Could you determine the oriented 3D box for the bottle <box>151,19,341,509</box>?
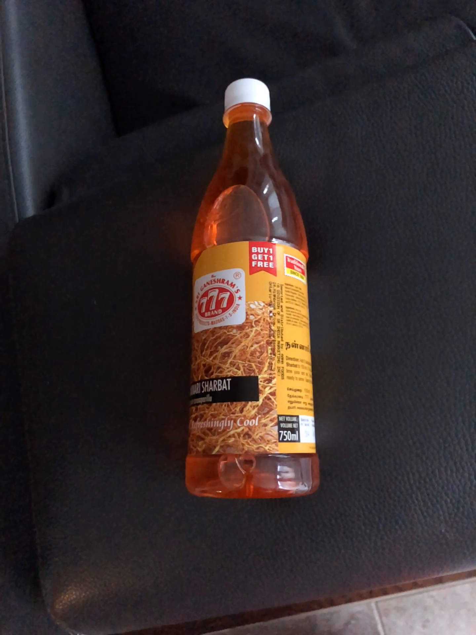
[{"bbox_3d":[0.006,-0.032,0.332,0.080,0.070,0.280,-10,71,30],"label":"bottle"}]
